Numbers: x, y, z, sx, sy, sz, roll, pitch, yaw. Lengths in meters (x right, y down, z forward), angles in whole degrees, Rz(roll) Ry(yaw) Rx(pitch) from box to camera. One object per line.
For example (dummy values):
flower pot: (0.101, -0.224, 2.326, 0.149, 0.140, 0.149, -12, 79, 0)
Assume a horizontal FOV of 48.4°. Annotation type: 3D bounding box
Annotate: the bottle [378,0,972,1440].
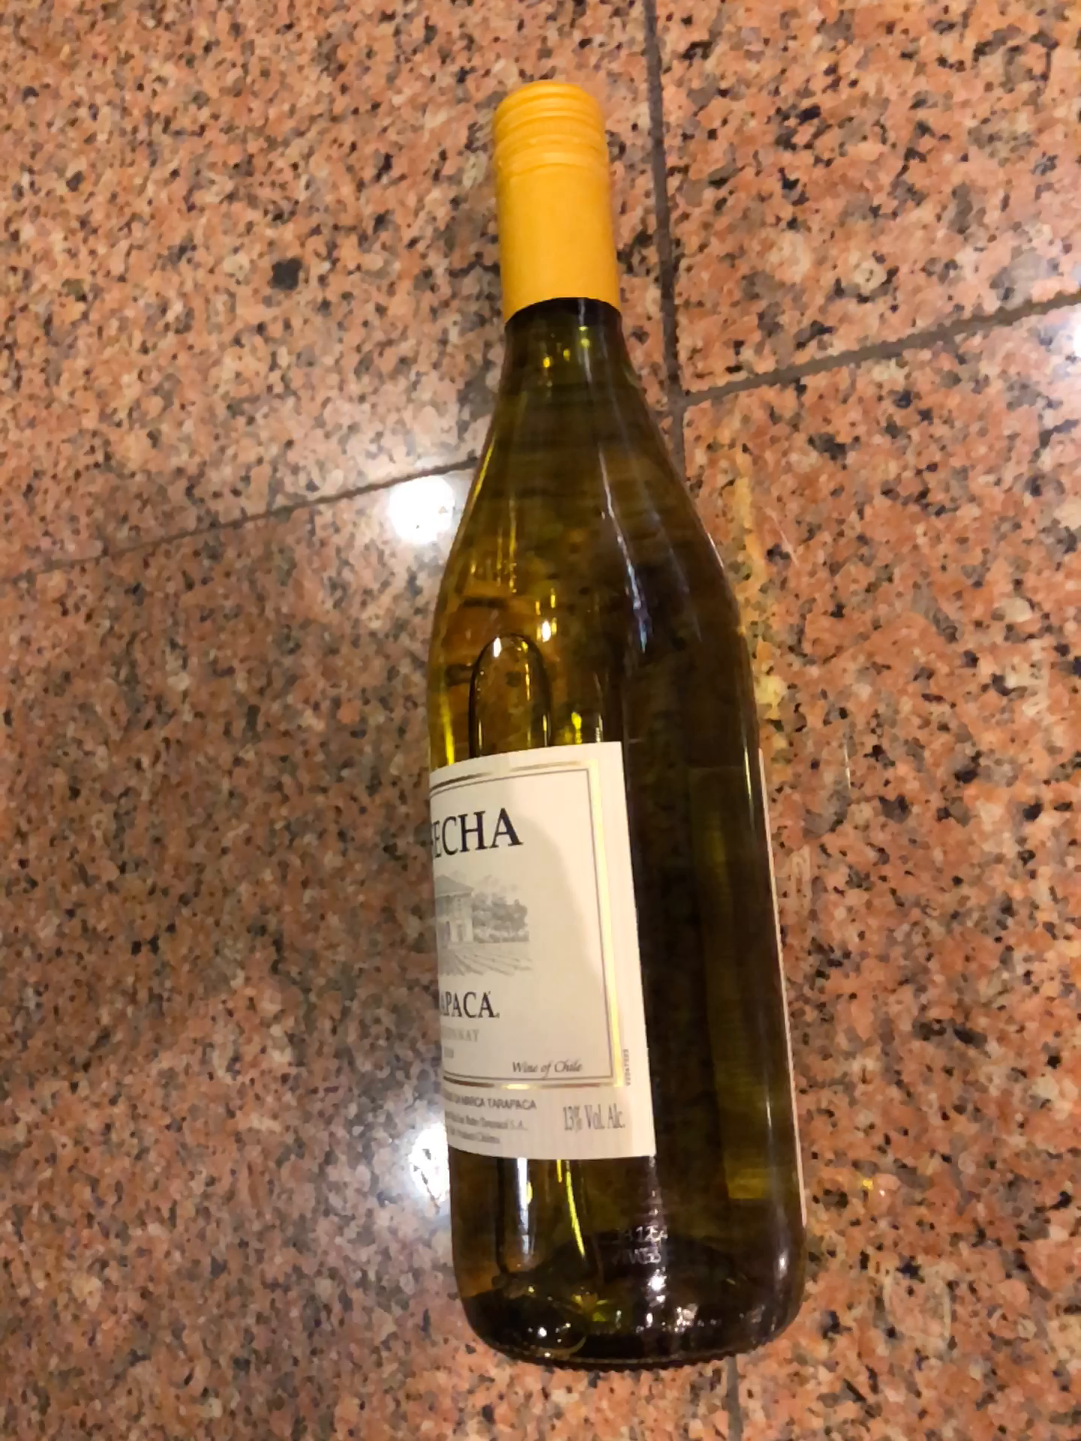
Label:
bottle: (0.026, -0.024, 0.284, 0.090, 0.070, 0.340, -10, 78, 30)
